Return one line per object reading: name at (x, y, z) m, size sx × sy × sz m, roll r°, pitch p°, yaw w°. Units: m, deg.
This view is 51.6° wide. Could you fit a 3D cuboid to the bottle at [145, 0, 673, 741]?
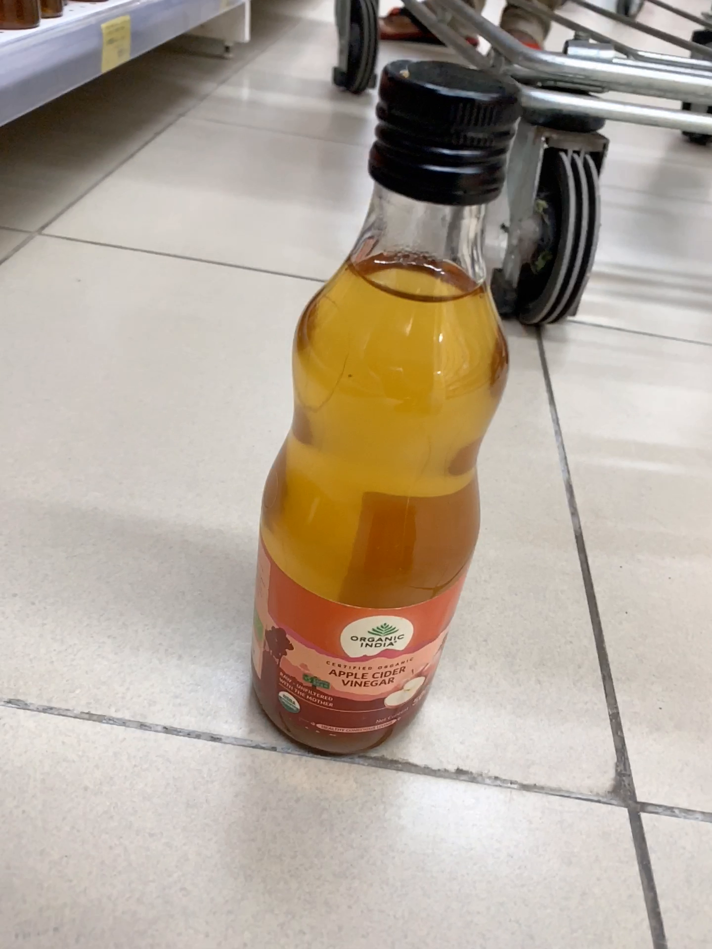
bottle at (-0.006, -0.010, 0.211) m, size 0.080 × 0.209 × 0.080 m, roll 5°, pitch 44°, yaw -5°
